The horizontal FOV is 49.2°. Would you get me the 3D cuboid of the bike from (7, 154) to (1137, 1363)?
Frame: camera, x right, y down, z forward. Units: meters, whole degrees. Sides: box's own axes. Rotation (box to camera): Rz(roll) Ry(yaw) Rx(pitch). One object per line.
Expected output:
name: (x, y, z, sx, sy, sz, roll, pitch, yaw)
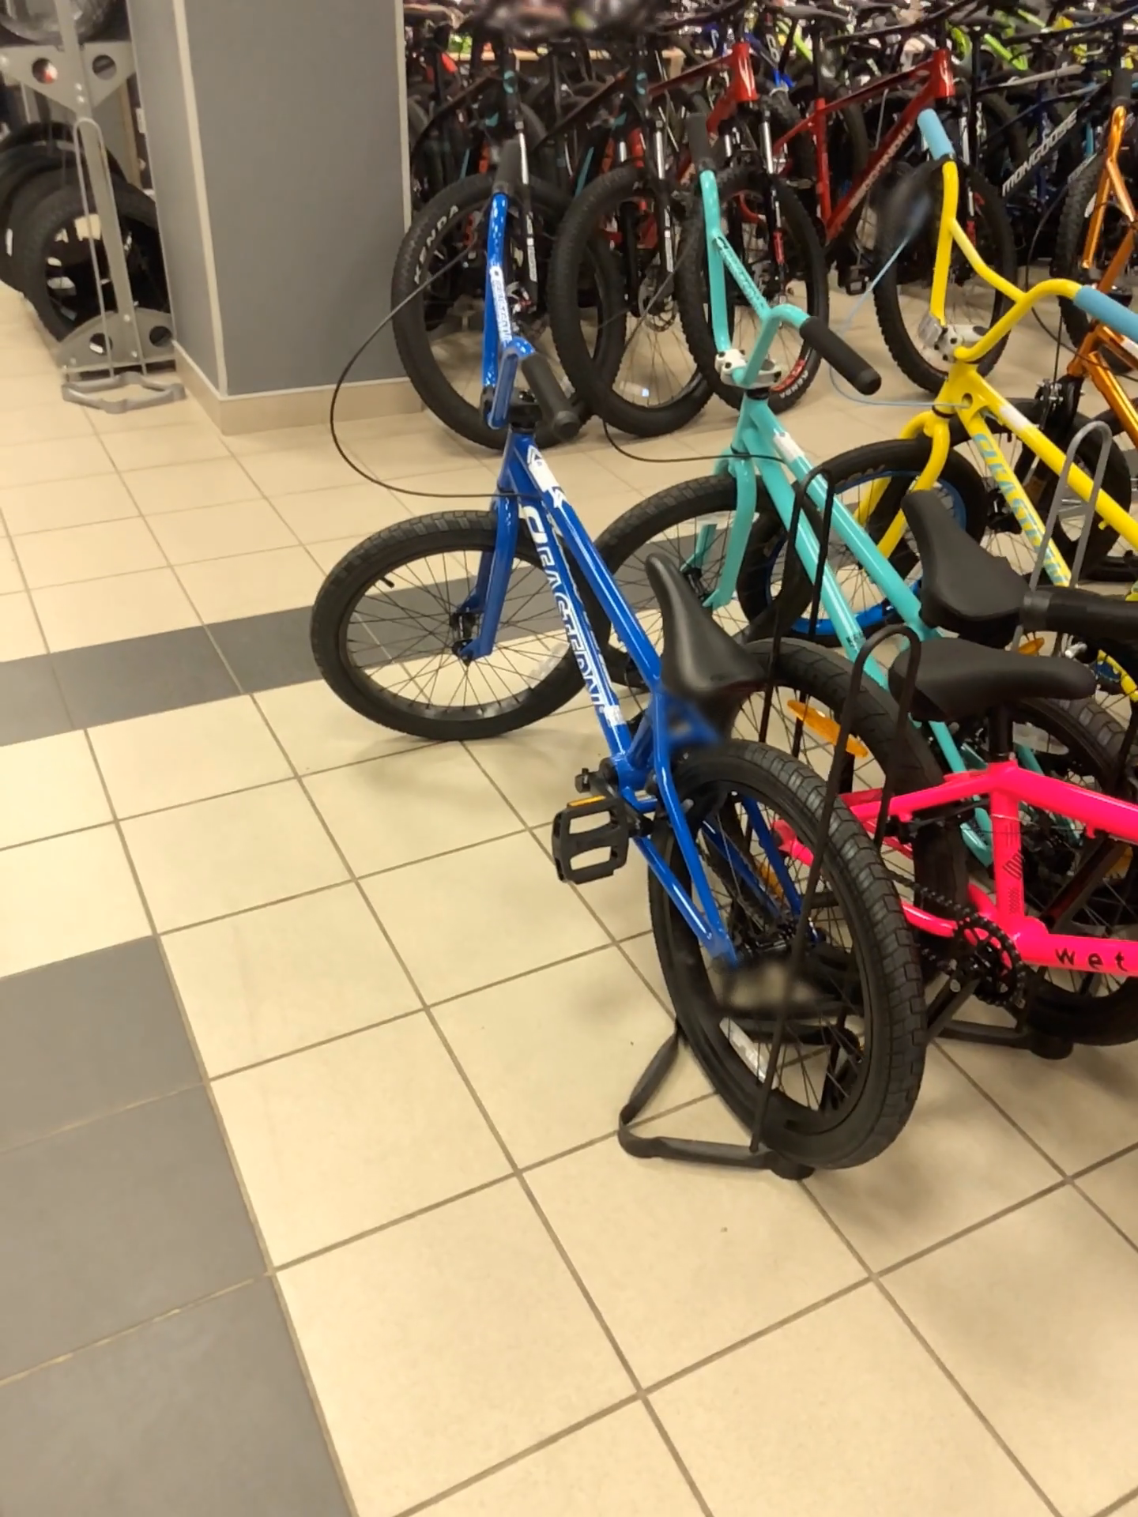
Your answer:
bike: (-0.003, -0.156, 1.638, 0.822, 0.961, 1.261, -19, 40, -30)
